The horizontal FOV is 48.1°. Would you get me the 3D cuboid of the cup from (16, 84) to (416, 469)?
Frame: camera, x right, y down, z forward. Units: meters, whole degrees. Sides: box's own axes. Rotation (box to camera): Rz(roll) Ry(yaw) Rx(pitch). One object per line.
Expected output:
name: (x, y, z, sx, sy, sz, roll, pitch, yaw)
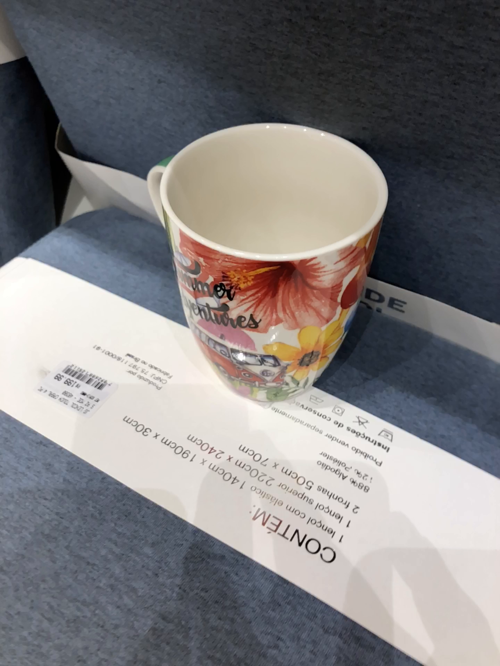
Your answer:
cup: (-0.011, -0.028, 0.232, 0.110, 0.090, 0.090, 27, 51, 20)
